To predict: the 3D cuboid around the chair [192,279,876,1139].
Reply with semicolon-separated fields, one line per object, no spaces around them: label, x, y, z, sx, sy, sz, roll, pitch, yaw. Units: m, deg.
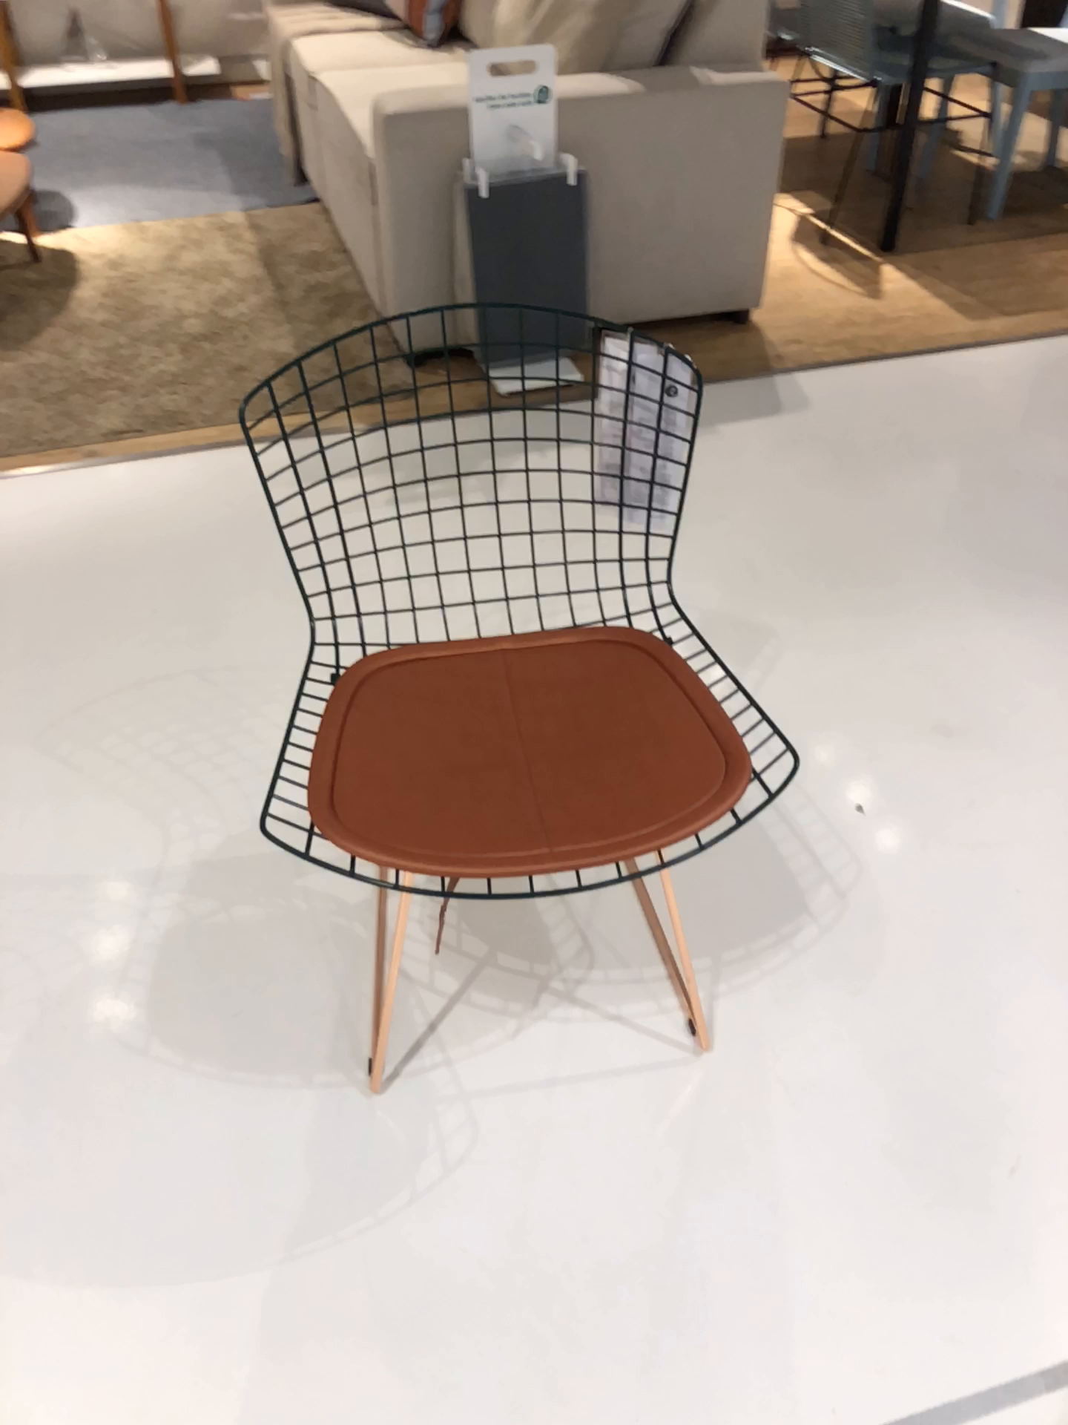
chair;-0.021;0.003;1.256;0.490;0.724;0.504;-5;40;-5
